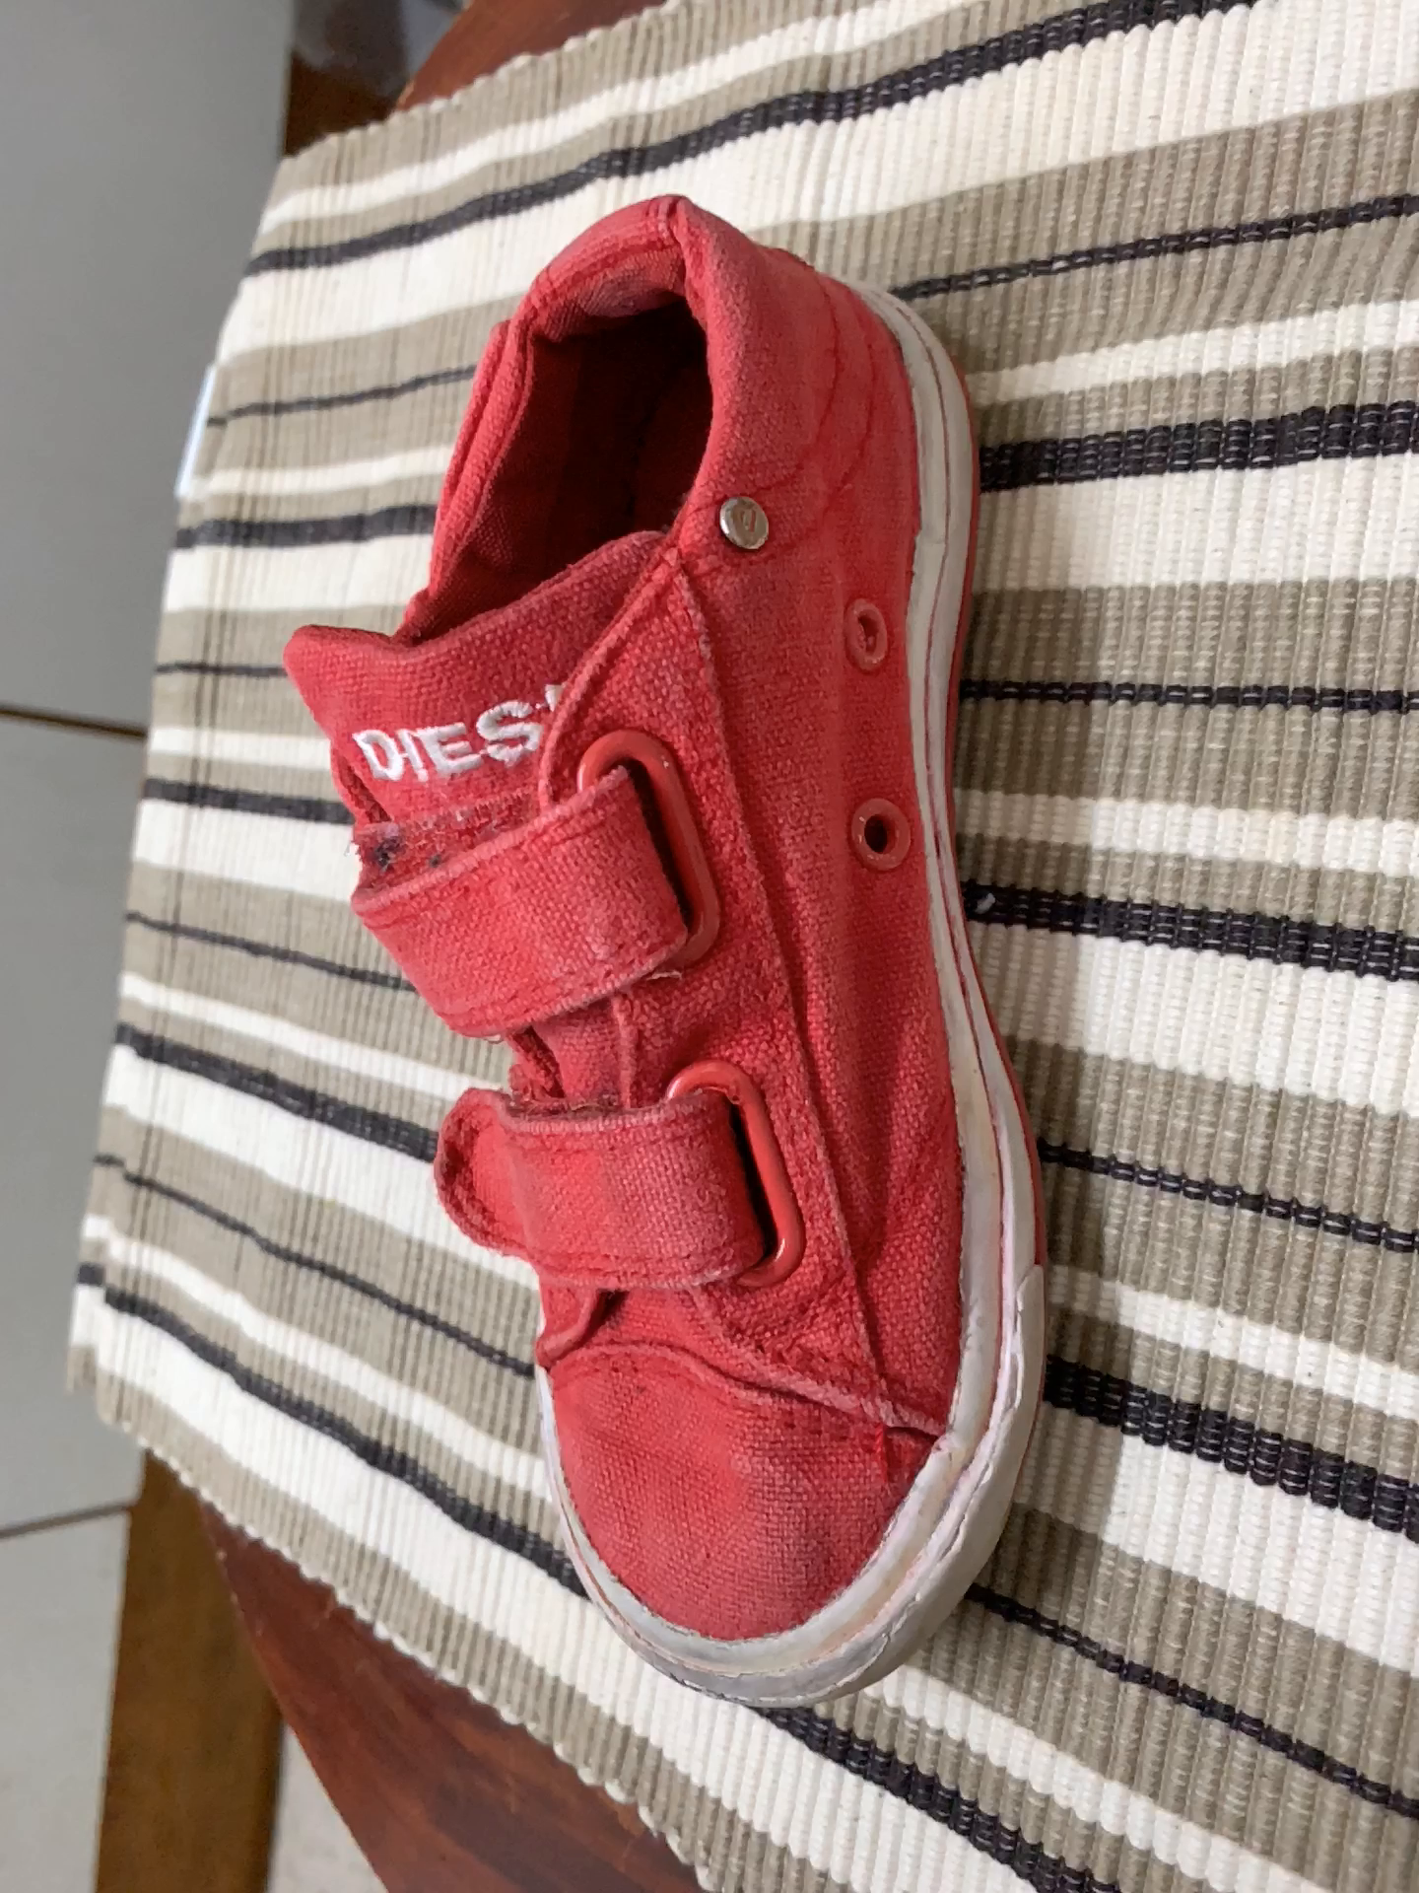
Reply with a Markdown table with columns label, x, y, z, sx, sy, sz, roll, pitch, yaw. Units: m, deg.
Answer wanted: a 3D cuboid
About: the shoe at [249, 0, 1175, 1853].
| label | x | y | z | sx | sy | sz | roll | pitch | yaw |
| --- | --- | --- | --- | --- | --- | --- | --- | --- | --- |
| shoe | 0.001 | -0.008 | 0.178 | 0.080 | 0.070 | 0.170 | -4 | 83 | 42 |
